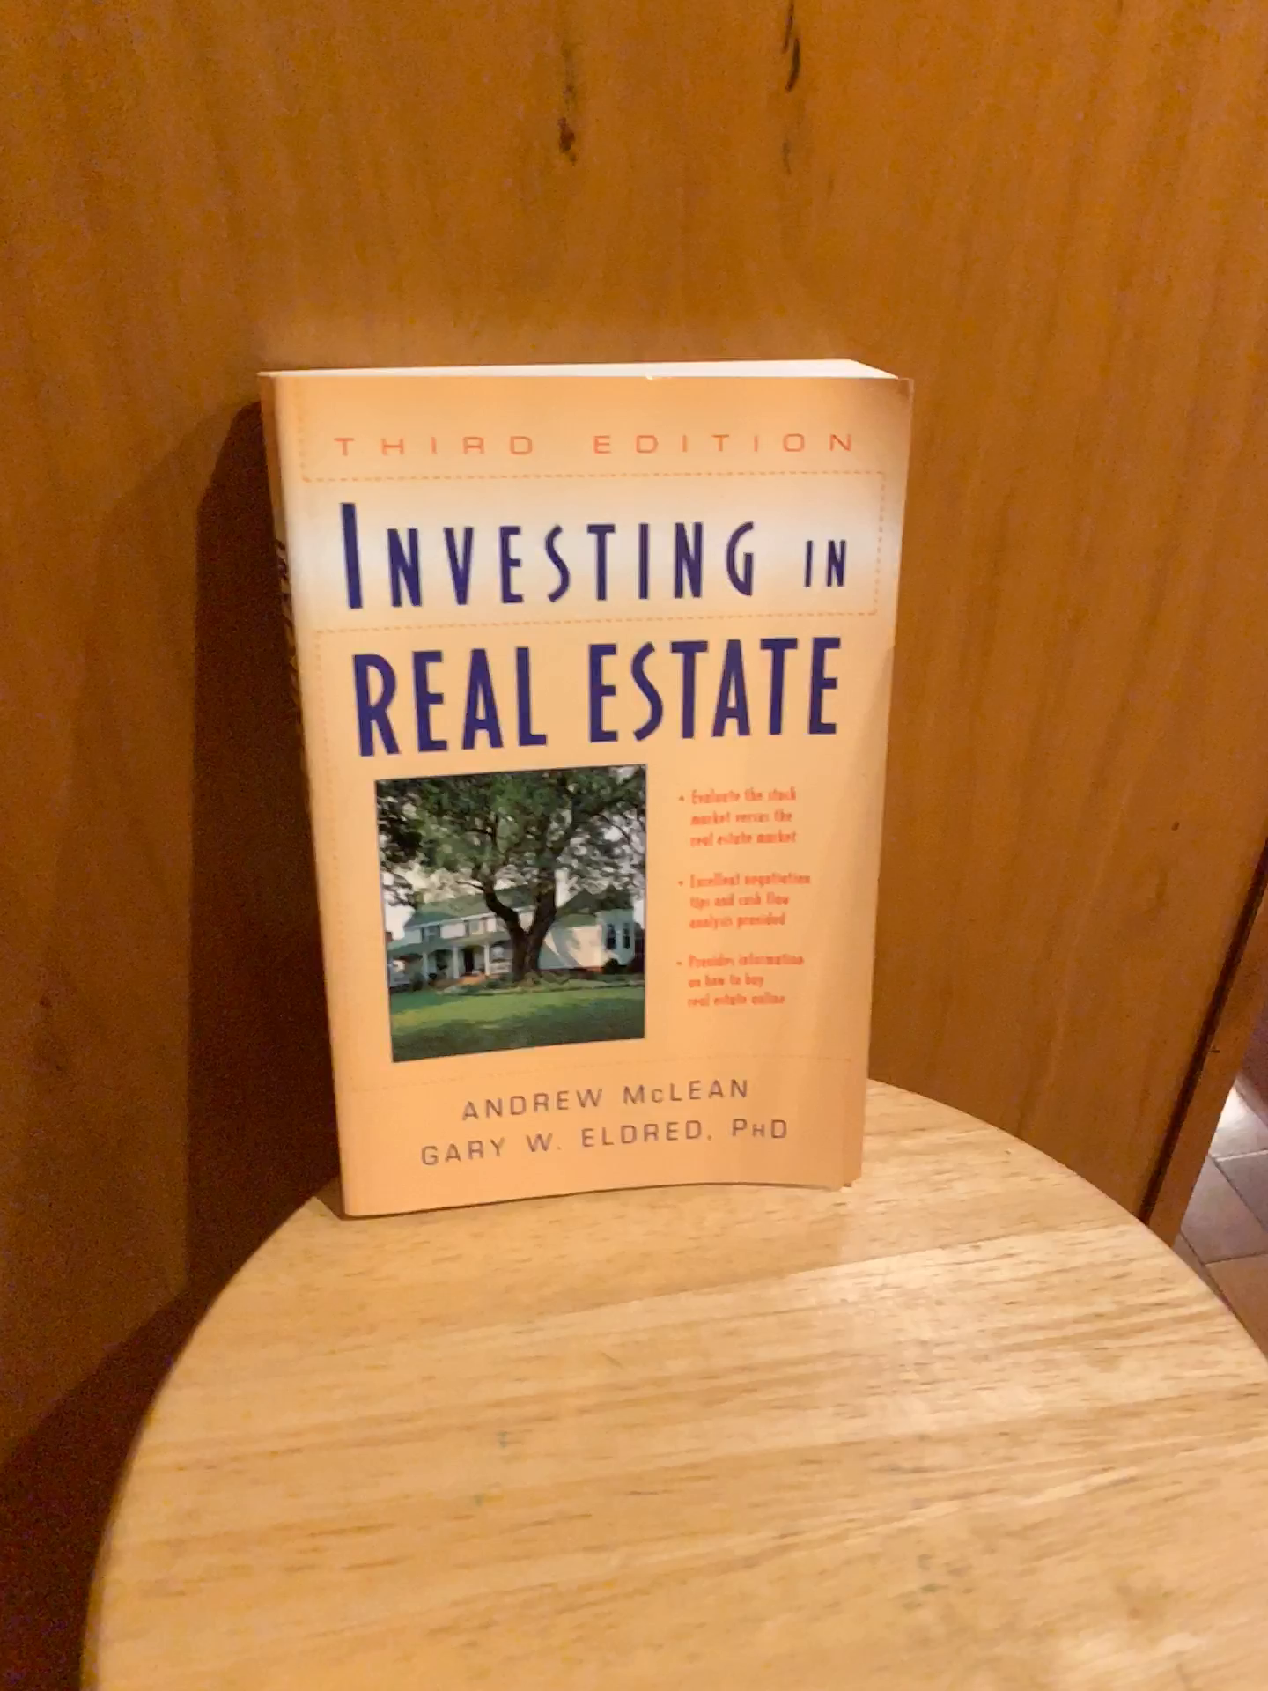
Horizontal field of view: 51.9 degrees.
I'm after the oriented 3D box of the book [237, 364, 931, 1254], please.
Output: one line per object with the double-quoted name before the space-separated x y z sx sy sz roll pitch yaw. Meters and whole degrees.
"book" -0.012 -0.010 0.358 0.160 0.229 0.050 -4 20 -10
